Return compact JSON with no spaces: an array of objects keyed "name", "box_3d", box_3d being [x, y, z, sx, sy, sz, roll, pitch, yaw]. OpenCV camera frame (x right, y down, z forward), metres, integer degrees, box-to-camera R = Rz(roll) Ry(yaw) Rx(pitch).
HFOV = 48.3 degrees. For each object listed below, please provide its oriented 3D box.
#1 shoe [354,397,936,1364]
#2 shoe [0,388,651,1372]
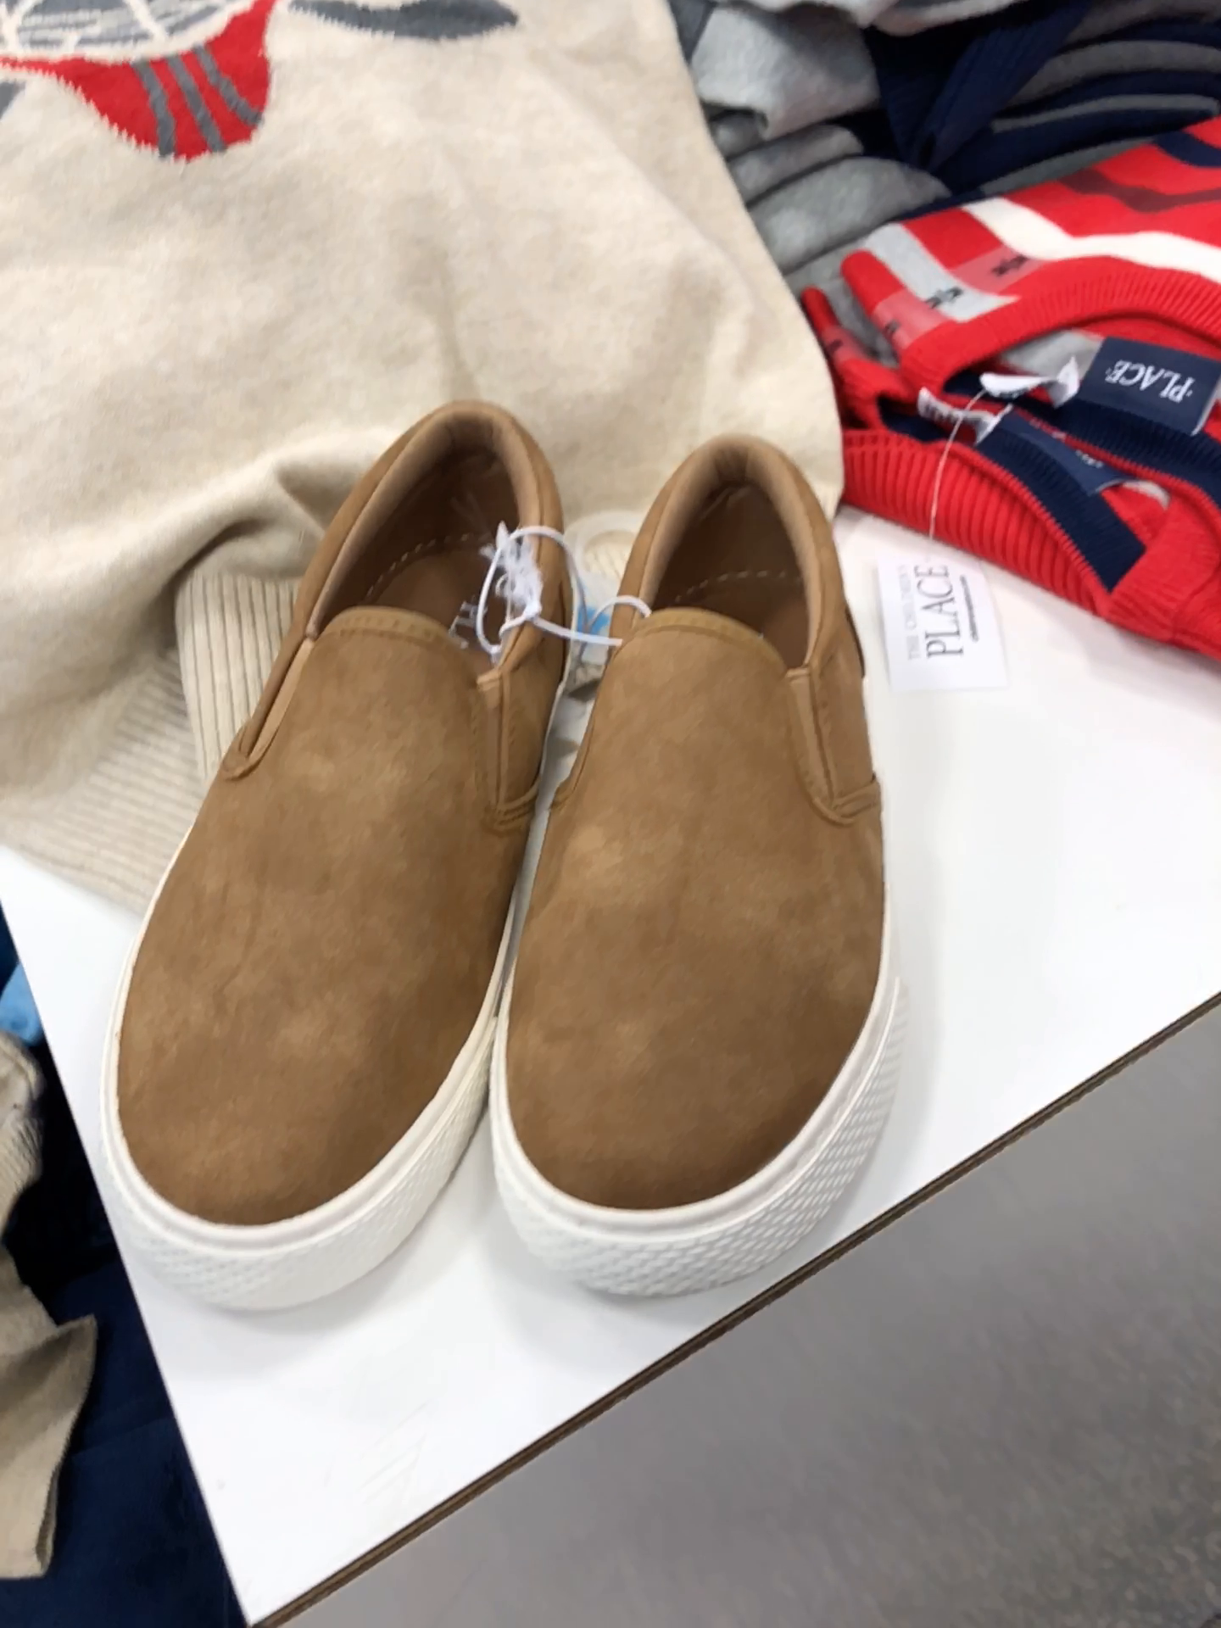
[{"name":"shoe","box_3d":[0.023,-0.004,0.322,0.092,0.080,0.231,1,44,10]},{"name":"shoe","box_3d":[-0.062,-0.007,0.318,0.092,0.080,0.231,4,45,13]}]
